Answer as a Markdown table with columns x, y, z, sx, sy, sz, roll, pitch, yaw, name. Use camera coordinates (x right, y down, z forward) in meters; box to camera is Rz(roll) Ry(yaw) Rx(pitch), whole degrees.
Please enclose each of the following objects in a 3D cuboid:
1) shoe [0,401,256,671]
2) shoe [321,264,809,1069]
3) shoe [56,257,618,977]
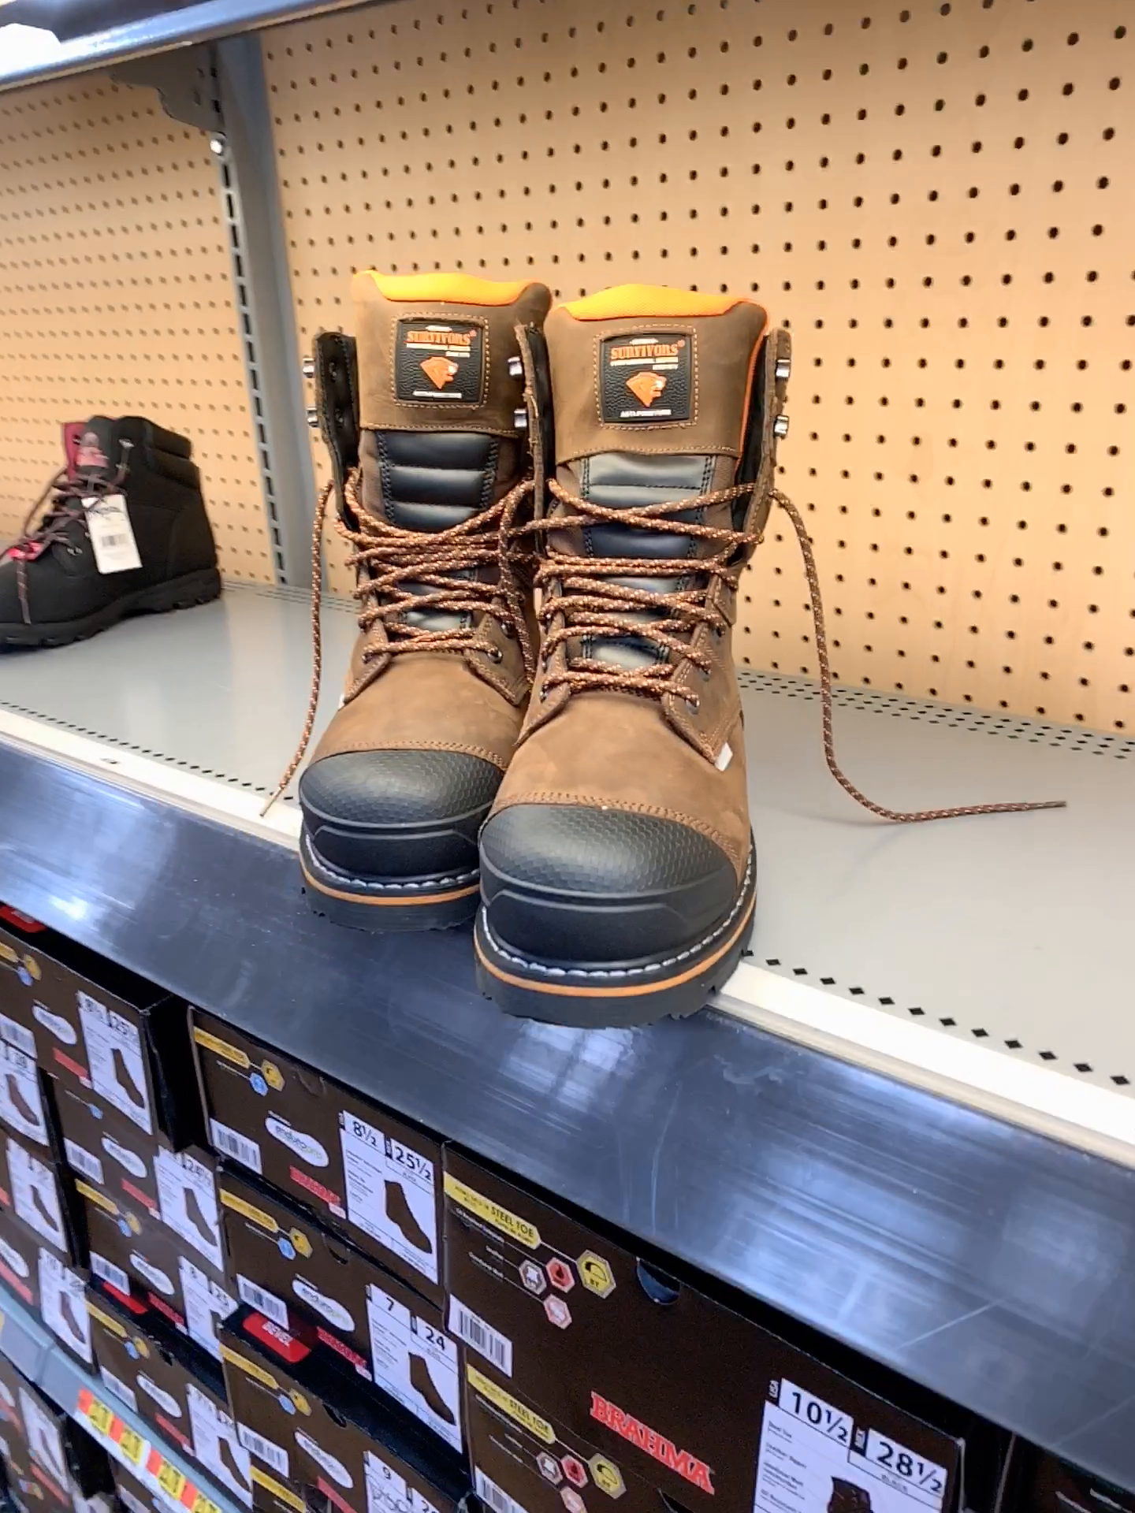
| x | y | z | sx | sy | sz | roll | pitch | yaw | name |
| --- | --- | --- | --- | --- | --- | --- | --- | --- | --- |
| -0.432 | -0.203 | 1.004 | 0.147 | 0.170 | 0.258 | 15 | 28 | 36 | shoe |
| 0.032 | -0.075 | 0.517 | 0.134 | 0.259 | 0.320 | 2 | 23 | 12 | shoe |
| -0.075 | -0.100 | 0.594 | 0.136 | 0.279 | 0.314 | 3 | 23 | 13 | shoe |
